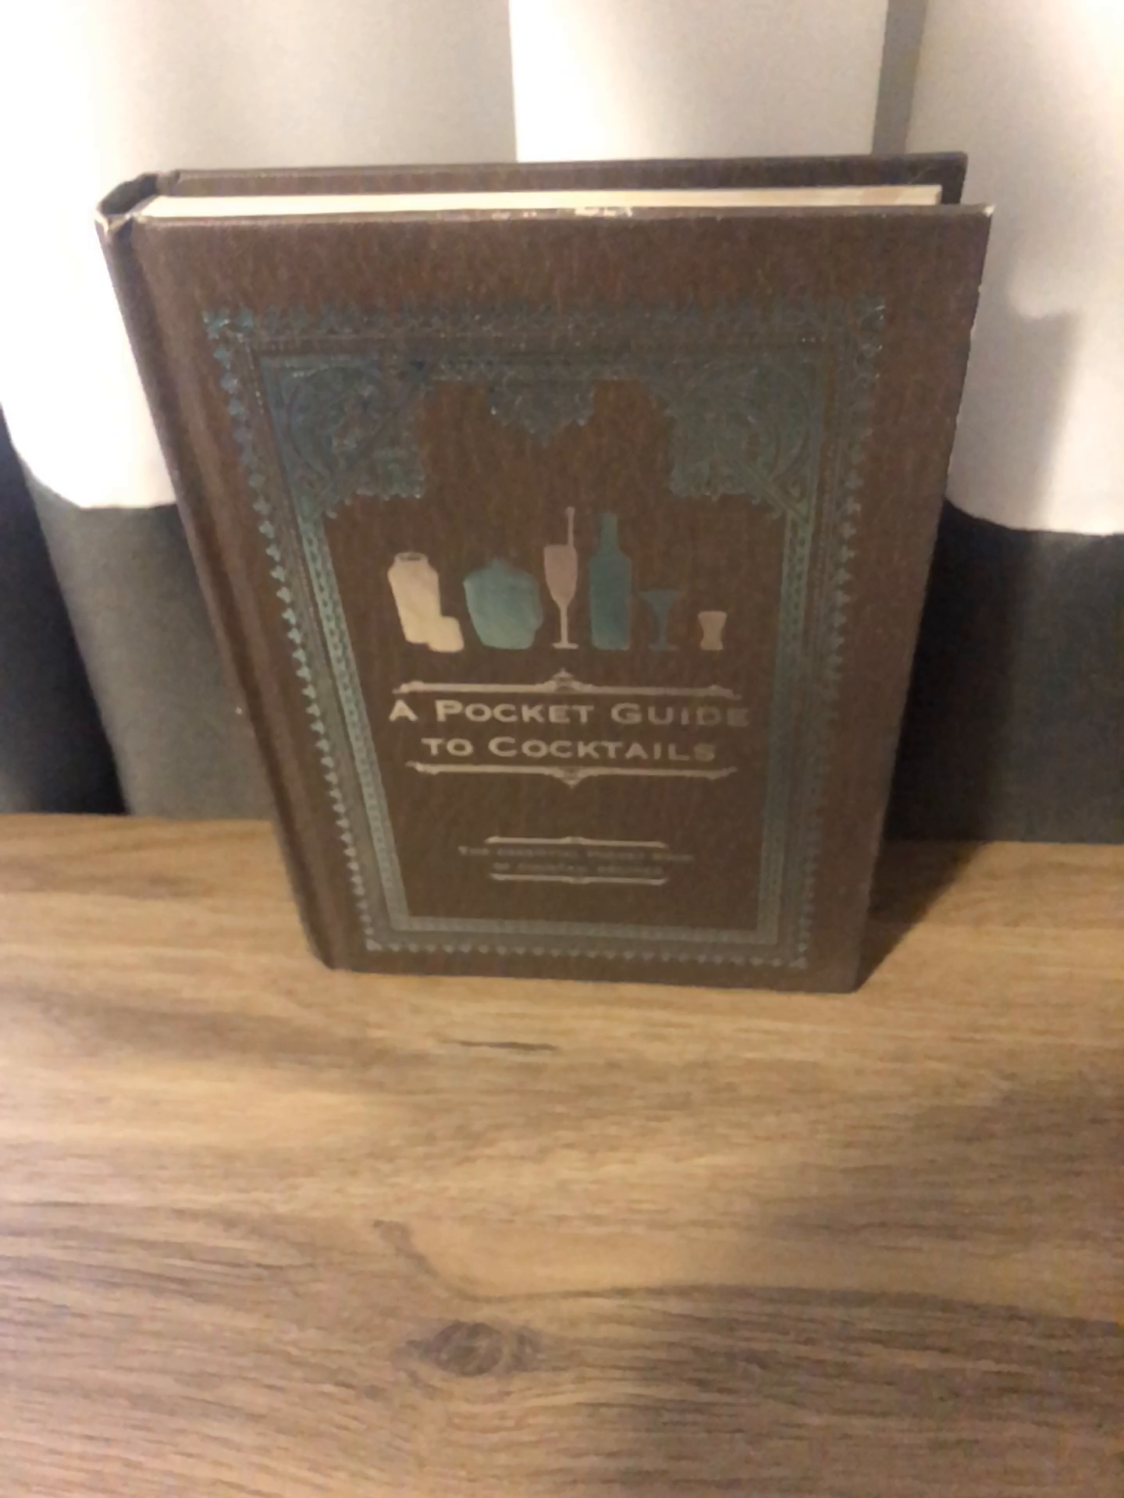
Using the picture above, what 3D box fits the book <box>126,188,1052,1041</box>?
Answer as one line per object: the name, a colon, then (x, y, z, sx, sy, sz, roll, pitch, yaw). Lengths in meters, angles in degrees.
book: (0.008, -0.008, 0.262, 0.136, 0.199, 0.022, 1, 44, 6)
